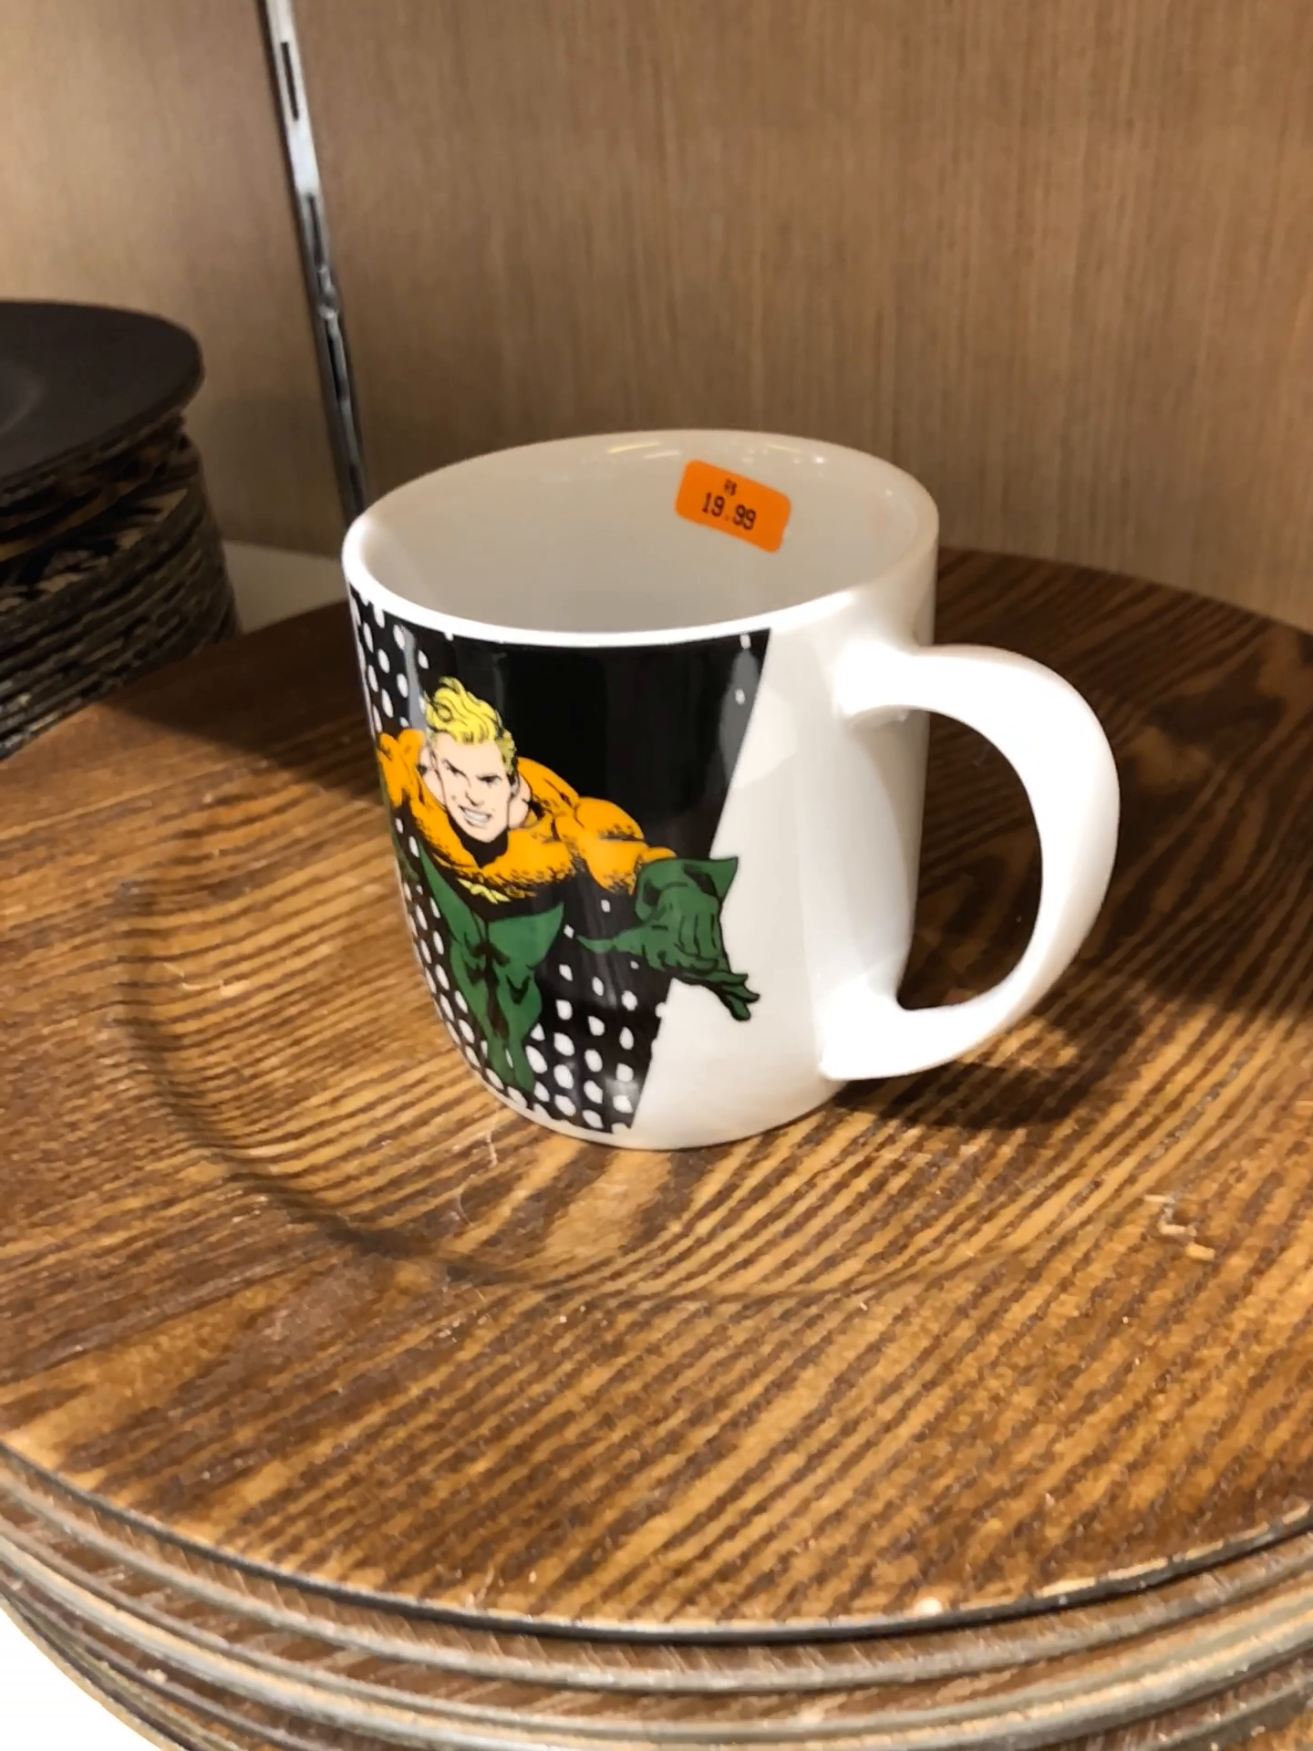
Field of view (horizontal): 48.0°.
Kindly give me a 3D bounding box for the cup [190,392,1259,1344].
[{"bbox_3d":[0.012,-0.014,0.229,0.120,0.089,0.091,17,36,31],"label":"cup"}]
